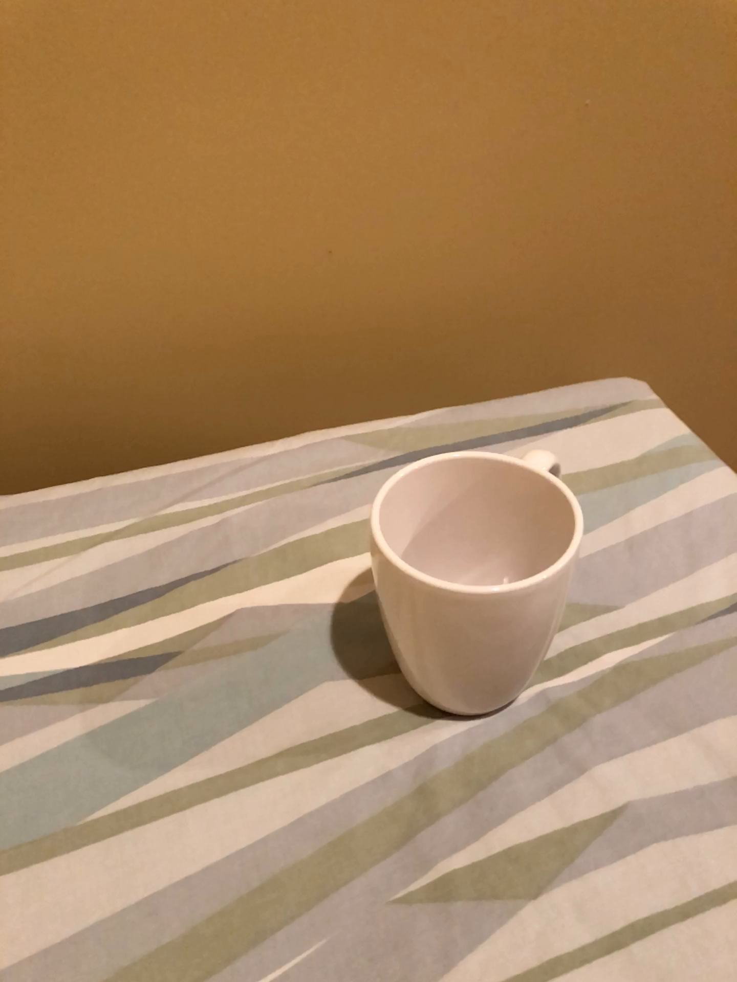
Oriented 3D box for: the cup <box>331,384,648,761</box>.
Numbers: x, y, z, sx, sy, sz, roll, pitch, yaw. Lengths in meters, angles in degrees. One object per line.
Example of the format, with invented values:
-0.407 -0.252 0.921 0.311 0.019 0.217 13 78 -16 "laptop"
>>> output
0.056 0.030 0.368 0.090 0.090 0.121 20 45 24 "cup"
